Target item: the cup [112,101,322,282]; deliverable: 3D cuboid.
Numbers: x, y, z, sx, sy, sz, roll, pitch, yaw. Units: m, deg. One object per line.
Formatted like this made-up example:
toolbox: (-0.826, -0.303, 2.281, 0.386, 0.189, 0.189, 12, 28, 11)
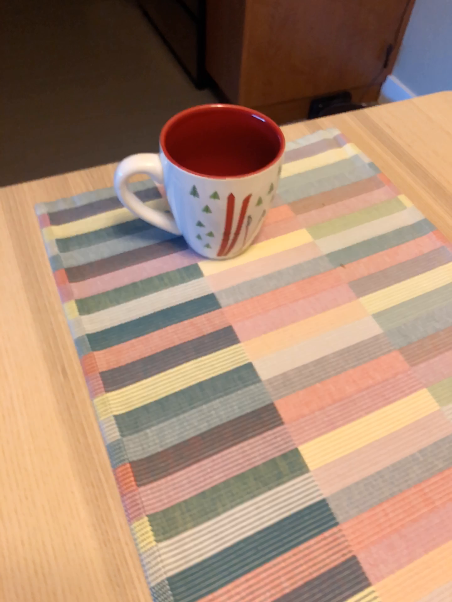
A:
cup: (-0.013, -0.089, 0.406, 0.140, 0.090, 0.100, -6, 53, -8)
